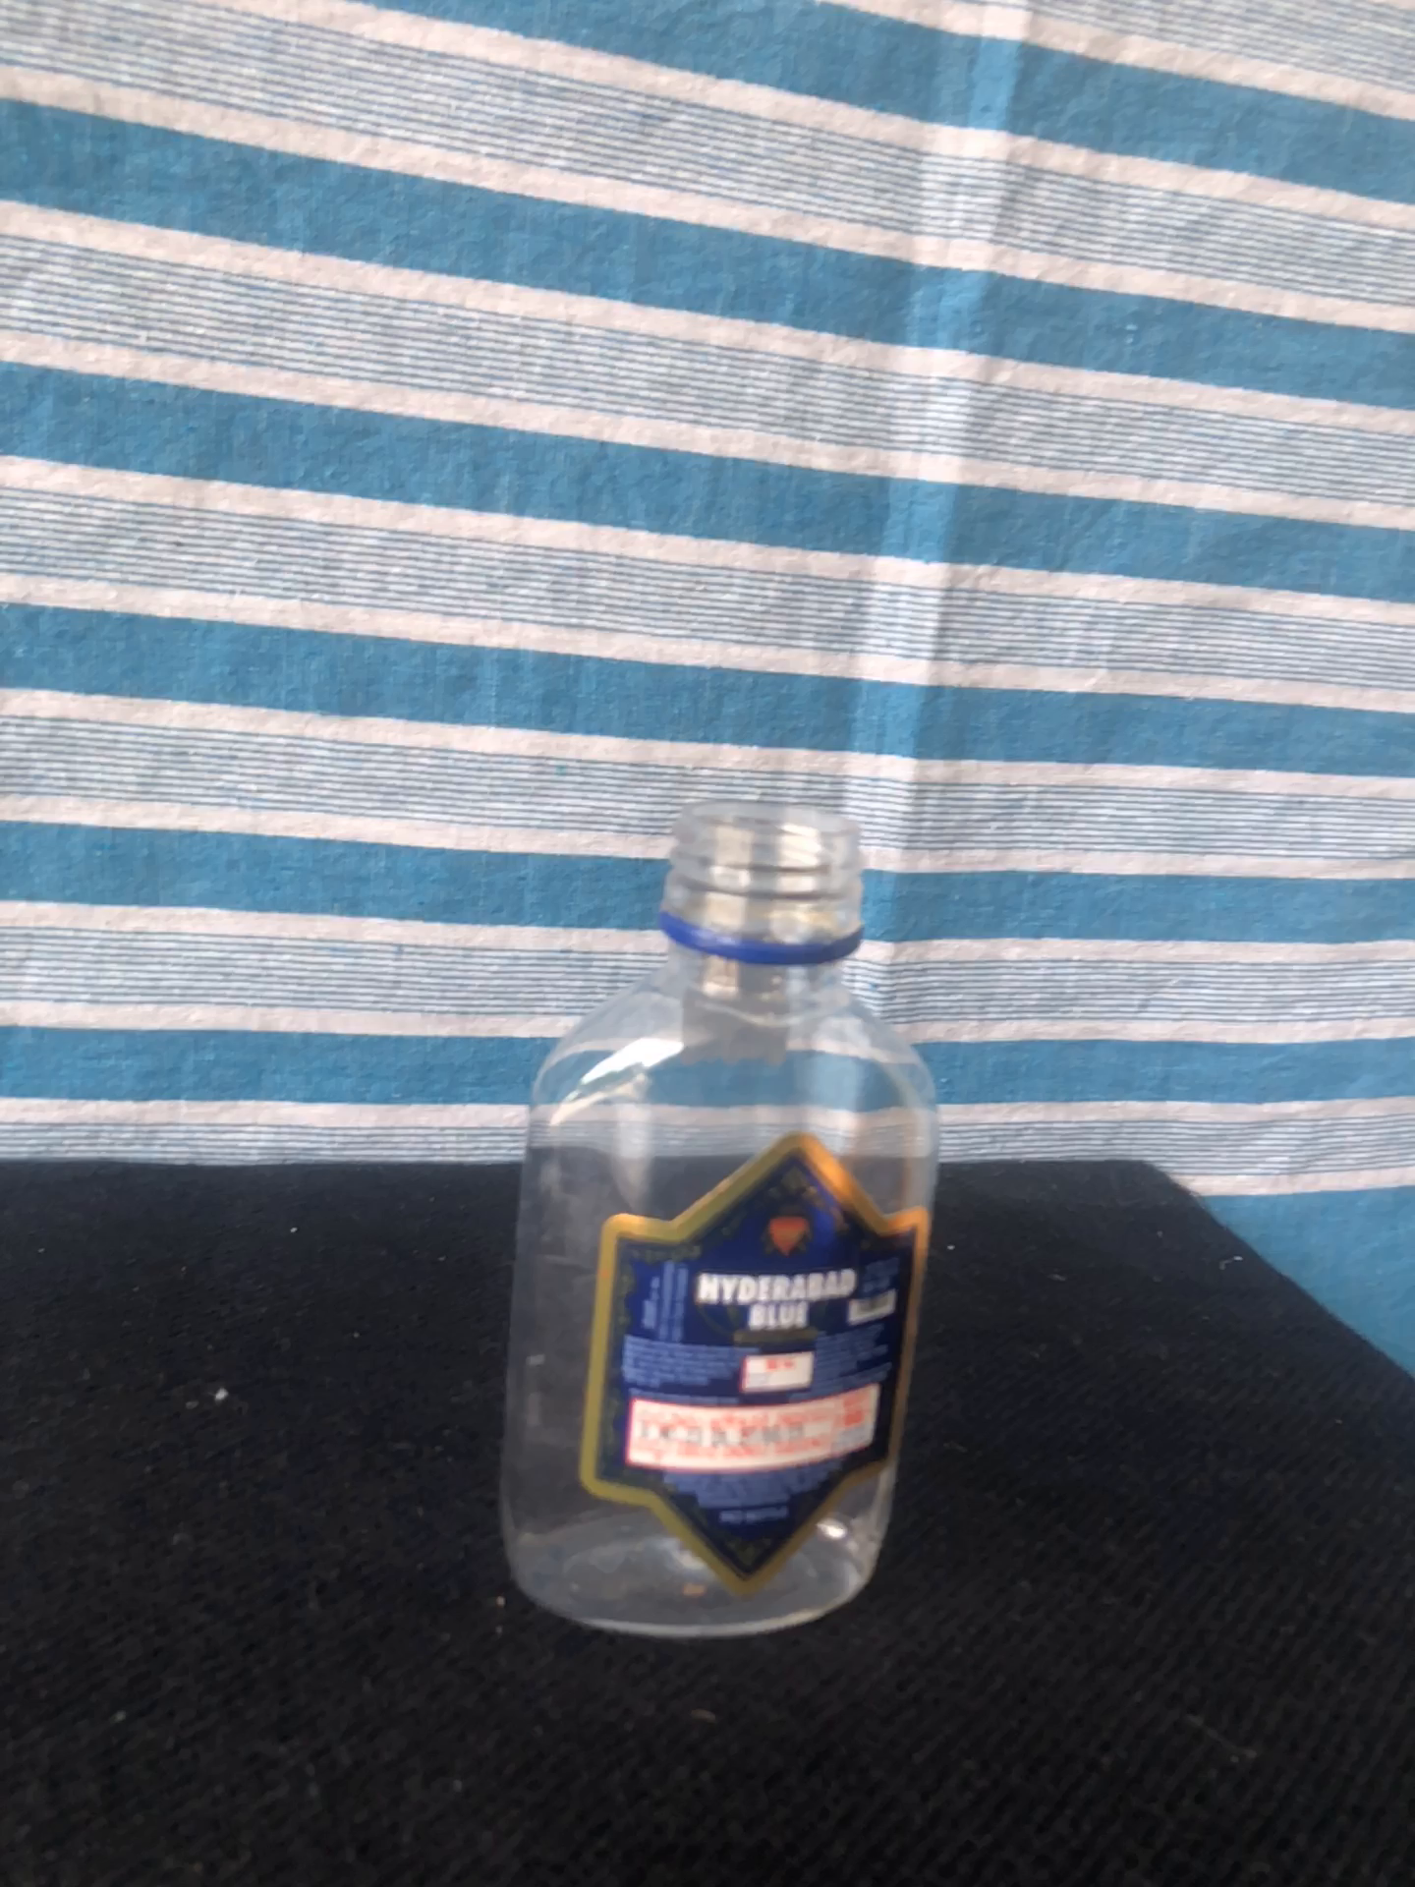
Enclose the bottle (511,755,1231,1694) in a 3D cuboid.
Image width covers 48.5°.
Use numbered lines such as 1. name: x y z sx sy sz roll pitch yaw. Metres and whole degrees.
1. bottle: 0.014 0.033 0.199 0.060 0.100 0.050 4 18 -17
